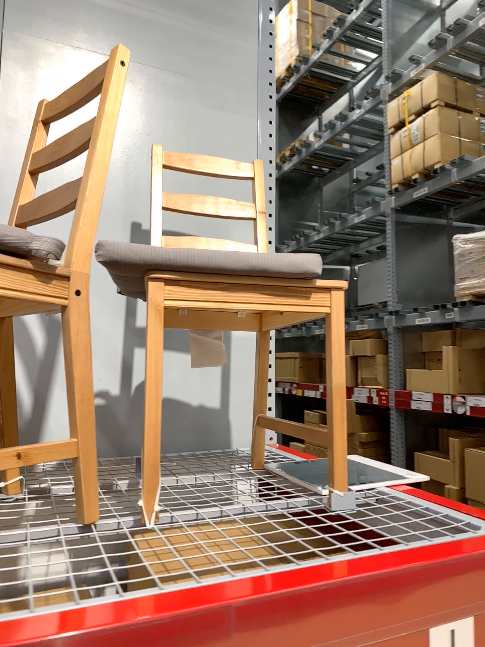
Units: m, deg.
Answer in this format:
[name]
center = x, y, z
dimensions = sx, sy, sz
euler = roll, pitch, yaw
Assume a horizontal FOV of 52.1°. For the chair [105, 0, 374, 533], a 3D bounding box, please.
[chair]
center = -0.045, -0.103, 1.120
dimensions = 0.440, 0.911, 0.499
euler = 3, -6, -20
